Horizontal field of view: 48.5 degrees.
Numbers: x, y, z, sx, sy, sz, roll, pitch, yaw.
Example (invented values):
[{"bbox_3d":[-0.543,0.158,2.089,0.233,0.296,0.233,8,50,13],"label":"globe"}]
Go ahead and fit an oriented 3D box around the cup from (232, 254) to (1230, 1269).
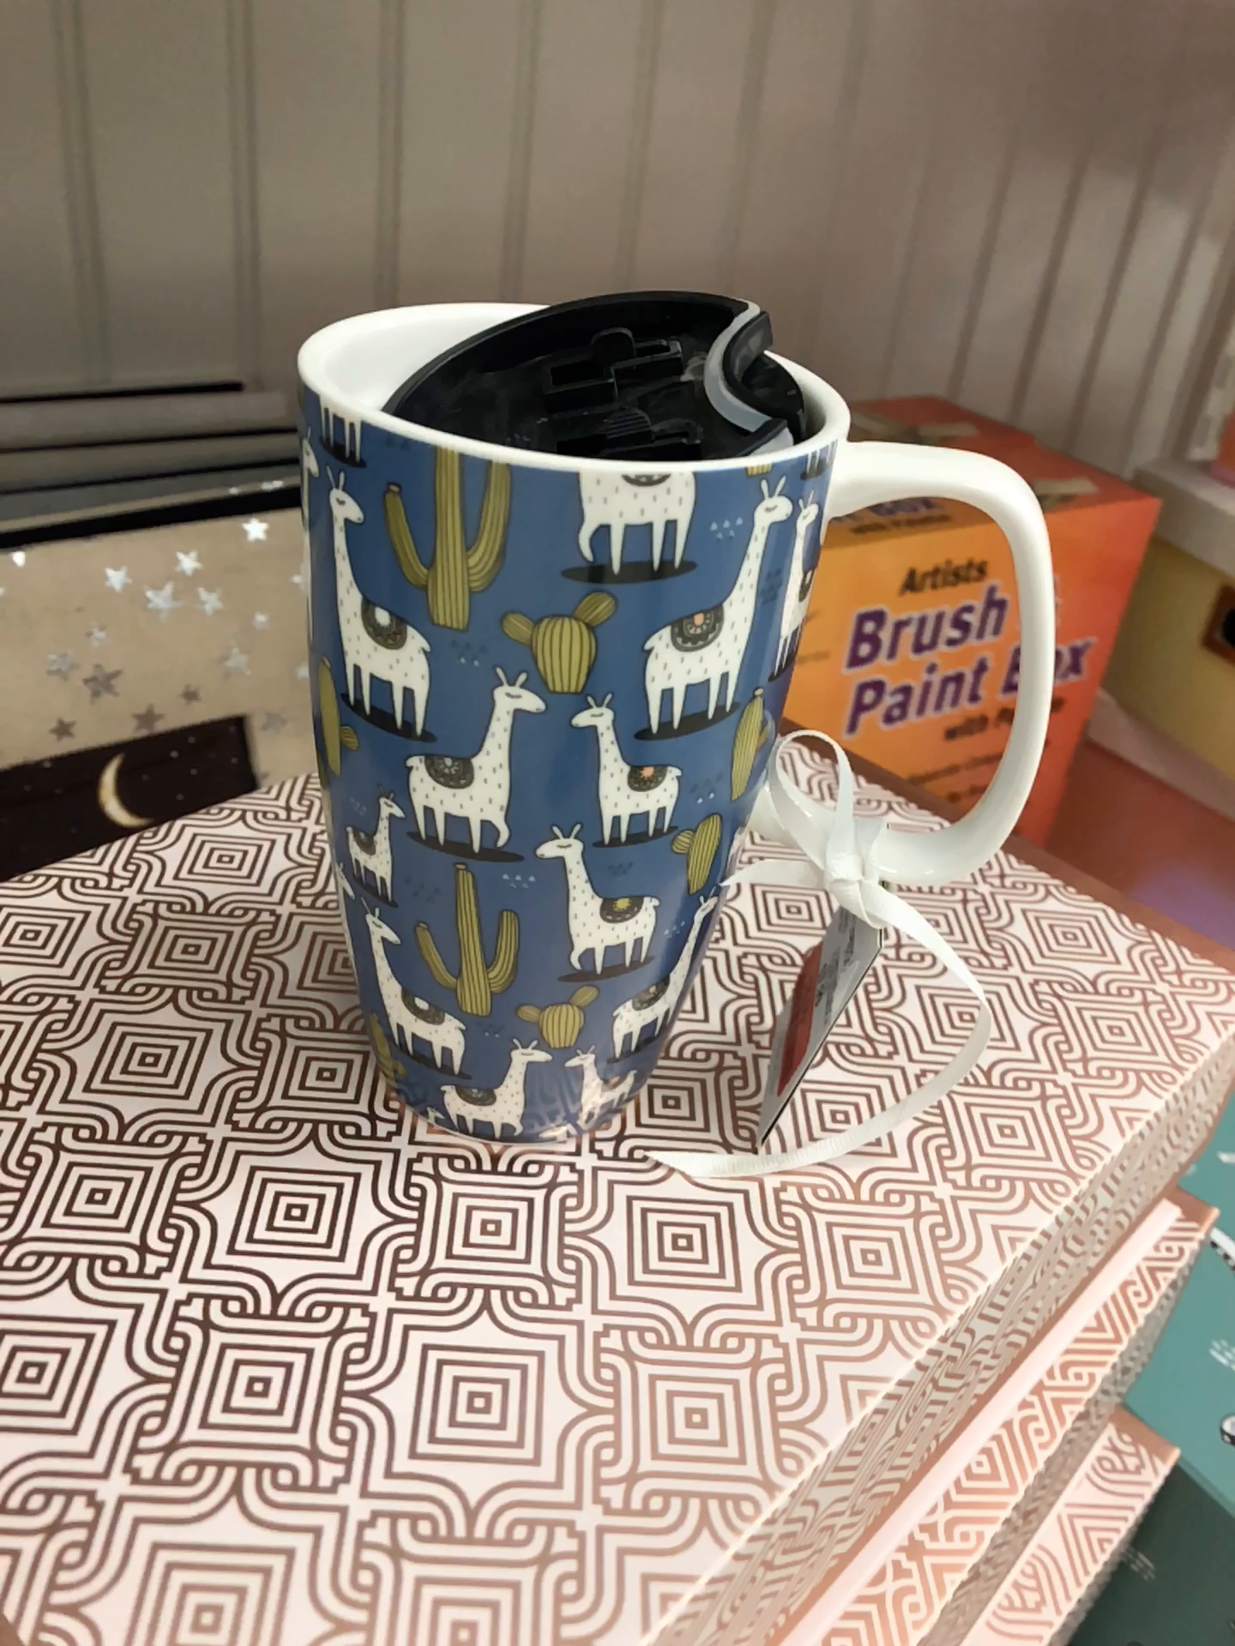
[{"bbox_3d":[0.011,-0.012,0.245,0.125,0.138,0.090,8,32,2],"label":"cup"}]
